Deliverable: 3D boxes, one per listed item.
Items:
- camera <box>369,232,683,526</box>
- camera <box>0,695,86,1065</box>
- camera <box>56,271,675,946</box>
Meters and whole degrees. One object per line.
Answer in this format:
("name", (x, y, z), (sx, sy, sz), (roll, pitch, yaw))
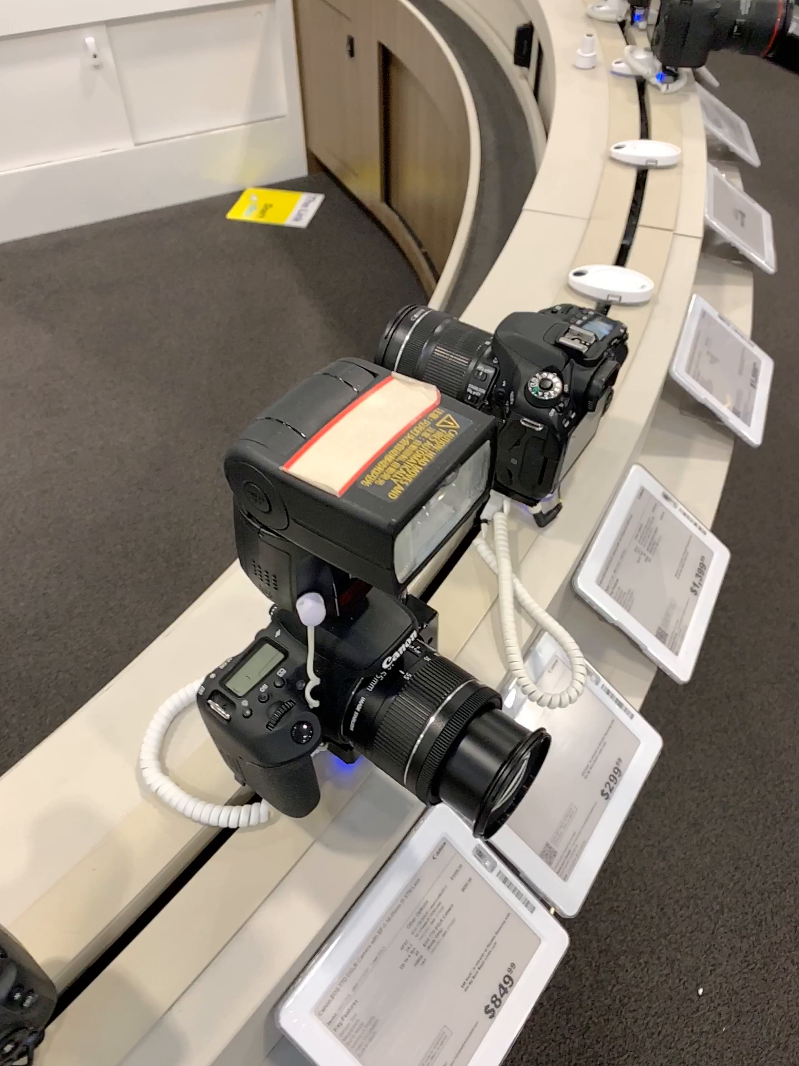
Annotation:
("camera", (0.087, -0.118, 0.599), (0.166, 0.103, 0.140), (28, 54, 22))
("camera", (-0.256, 0.189, 0.349), (0.166, 0.103, 0.140), (31, 55, 25))
("camera", (-0.013, 0.041, 0.385), (0.176, 0.232, 0.140), (31, 55, 25))
